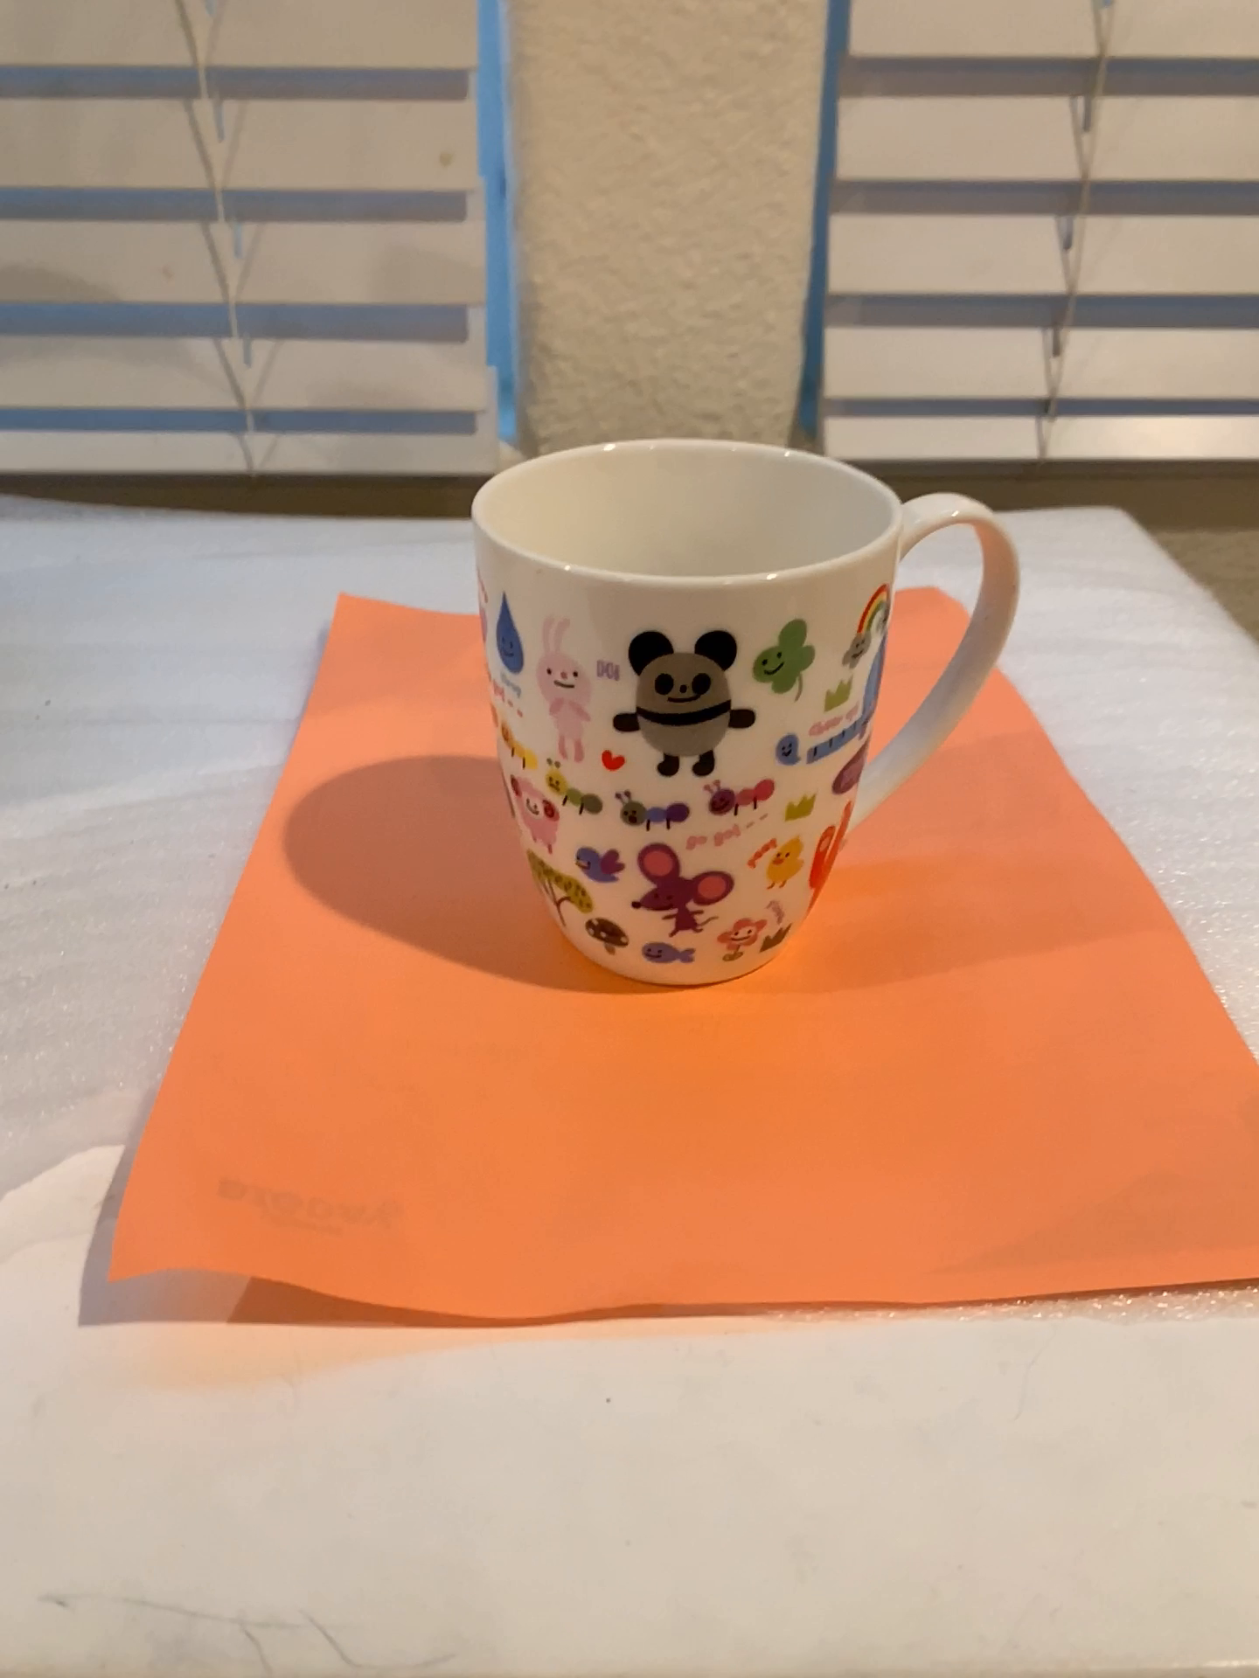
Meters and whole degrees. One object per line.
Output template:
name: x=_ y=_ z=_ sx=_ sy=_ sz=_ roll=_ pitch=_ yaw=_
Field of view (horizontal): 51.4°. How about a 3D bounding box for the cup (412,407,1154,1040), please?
cup: x=0.025 y=-0.032 z=0.282 sx=0.120 sy=0.089 sz=0.091 roll=-10 pitch=33 yaw=-15
